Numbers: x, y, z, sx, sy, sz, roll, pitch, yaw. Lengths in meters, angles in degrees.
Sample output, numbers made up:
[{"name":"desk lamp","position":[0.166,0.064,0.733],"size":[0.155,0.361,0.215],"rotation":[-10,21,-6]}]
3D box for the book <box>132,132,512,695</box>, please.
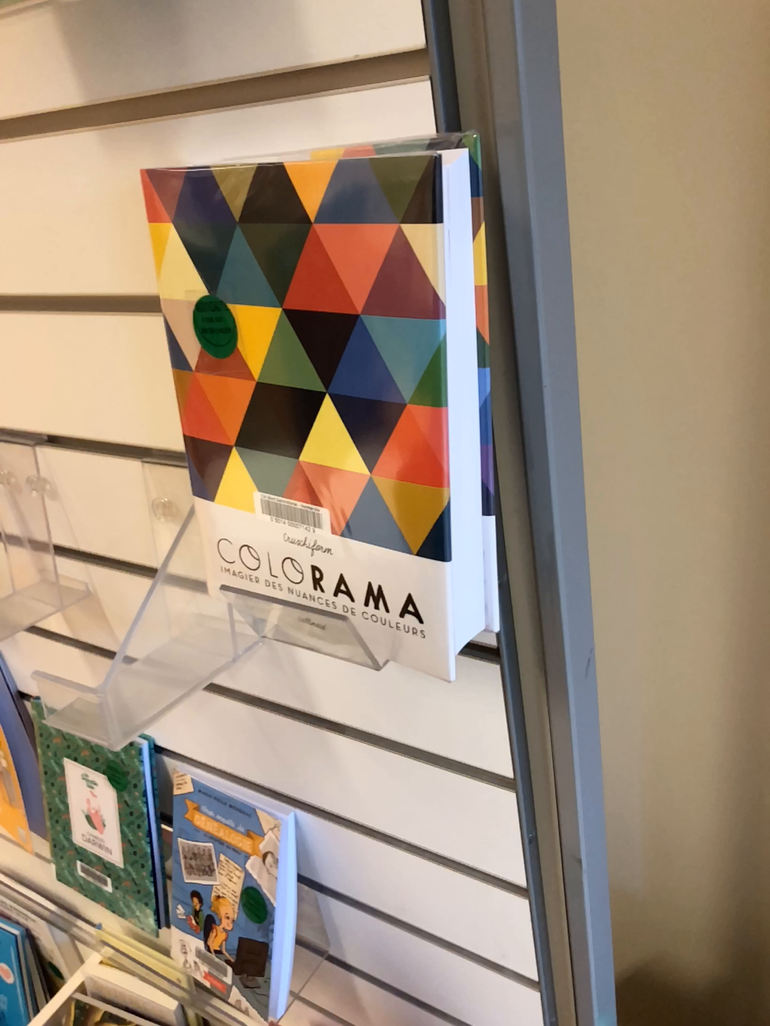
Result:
[{"name":"book","position":[-0.028,-0.048,0.405],"size":[0.170,0.231,0.046],"rotation":[13,28,36]}]
